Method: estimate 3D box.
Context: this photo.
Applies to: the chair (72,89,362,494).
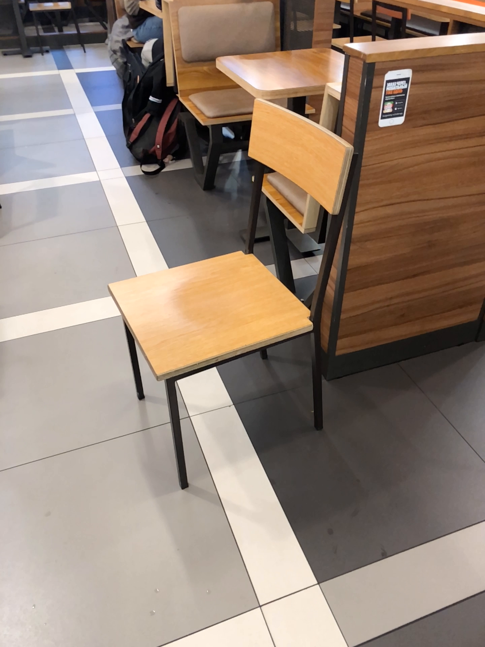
[{"bbox_3d":[-0.068,-0.075,1.355,0.461,0.845,0.432,-18,41,-22],"label":"chair"}]
